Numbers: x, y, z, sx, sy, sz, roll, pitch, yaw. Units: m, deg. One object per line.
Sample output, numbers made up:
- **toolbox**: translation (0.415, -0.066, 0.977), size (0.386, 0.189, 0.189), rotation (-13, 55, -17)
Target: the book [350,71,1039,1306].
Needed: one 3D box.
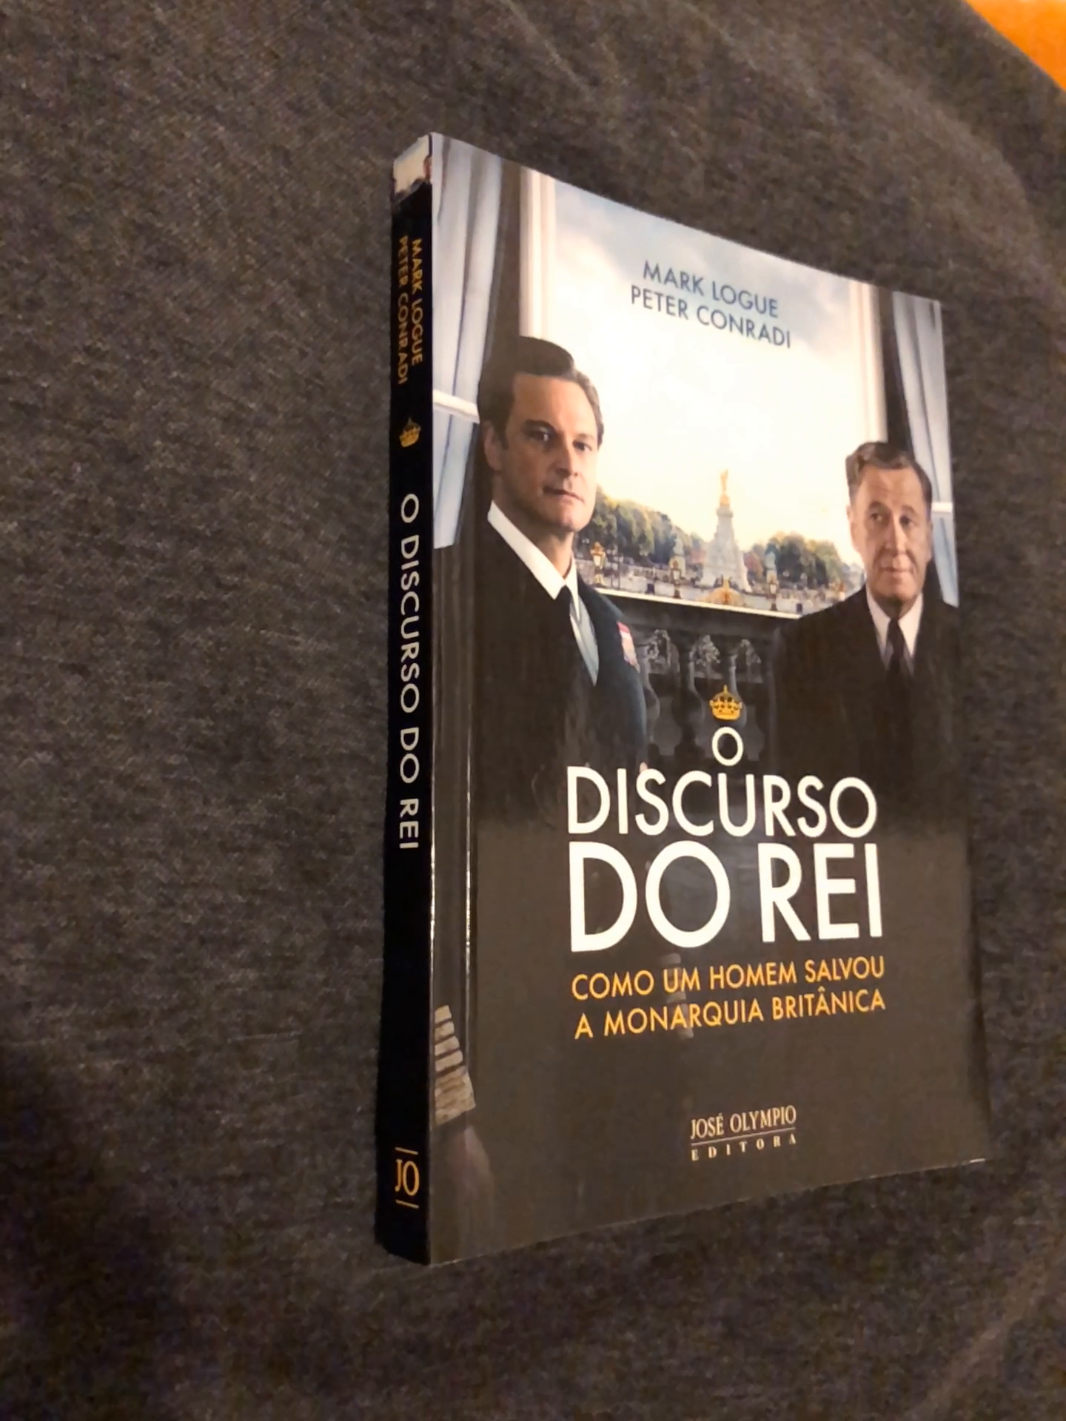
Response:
- **book**: translation (0.040, -0.007, 0.270), size (0.160, 0.030, 0.230), rotation (4, 79, -30)
